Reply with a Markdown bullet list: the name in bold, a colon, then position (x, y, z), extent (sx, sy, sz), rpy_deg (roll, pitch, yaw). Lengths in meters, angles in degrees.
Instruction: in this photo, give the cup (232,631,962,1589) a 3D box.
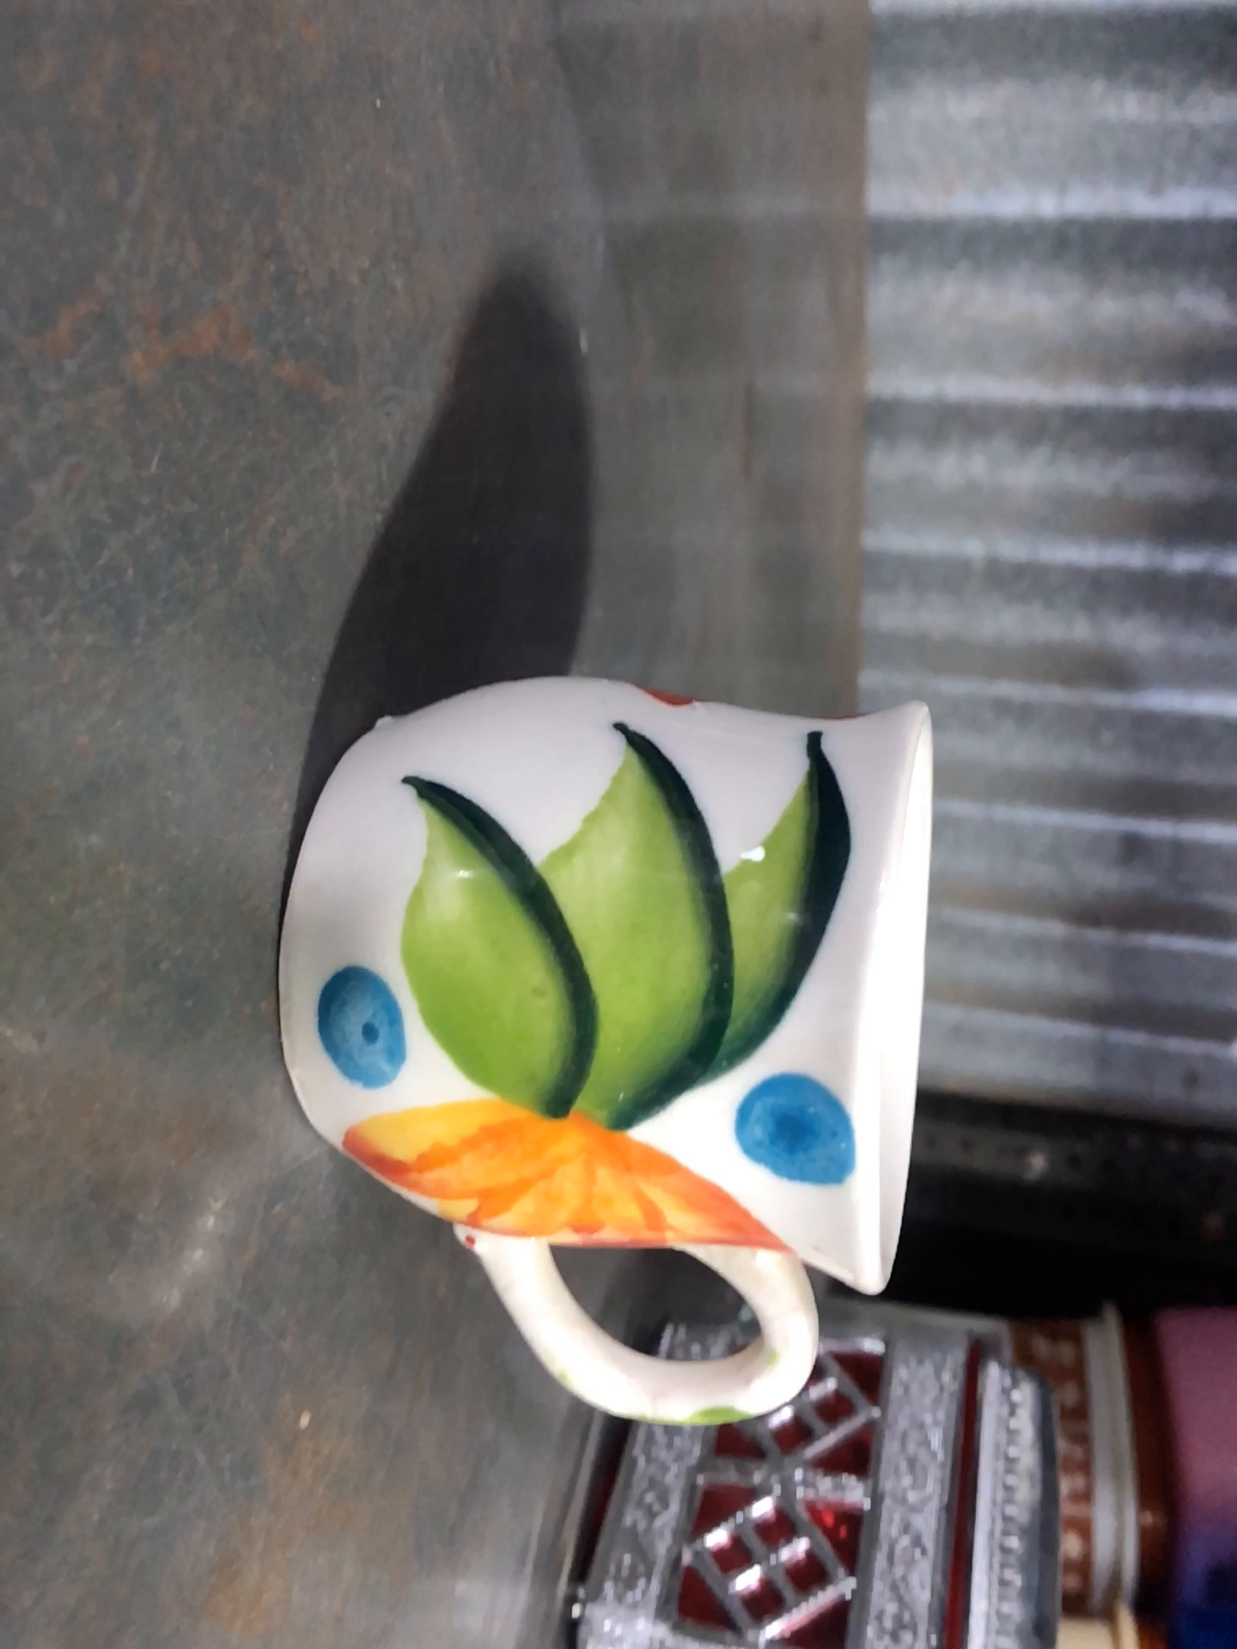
- **cup**: position (0.003, 0.026, 0.178), extent (0.070, 0.070, 0.090), rpy_deg (-44, 137, -69)
